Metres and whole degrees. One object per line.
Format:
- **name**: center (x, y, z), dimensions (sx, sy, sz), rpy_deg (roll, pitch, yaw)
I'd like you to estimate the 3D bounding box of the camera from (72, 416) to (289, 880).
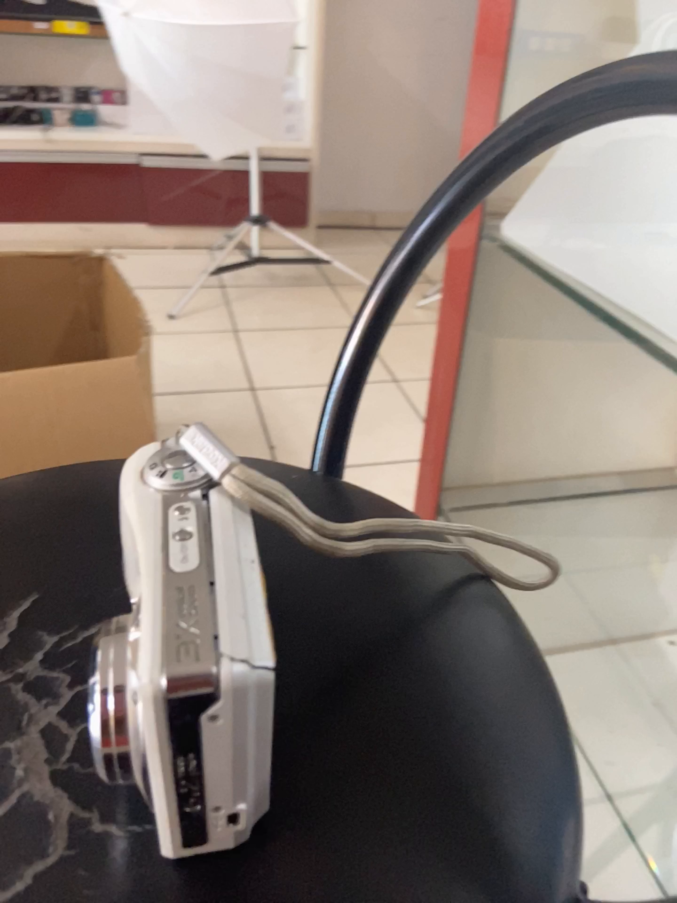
- **camera**: center (-0.043, 0.044, 0.187), dimensions (0.040, 0.070, 0.090), rpy_deg (-5, 33, -15)
